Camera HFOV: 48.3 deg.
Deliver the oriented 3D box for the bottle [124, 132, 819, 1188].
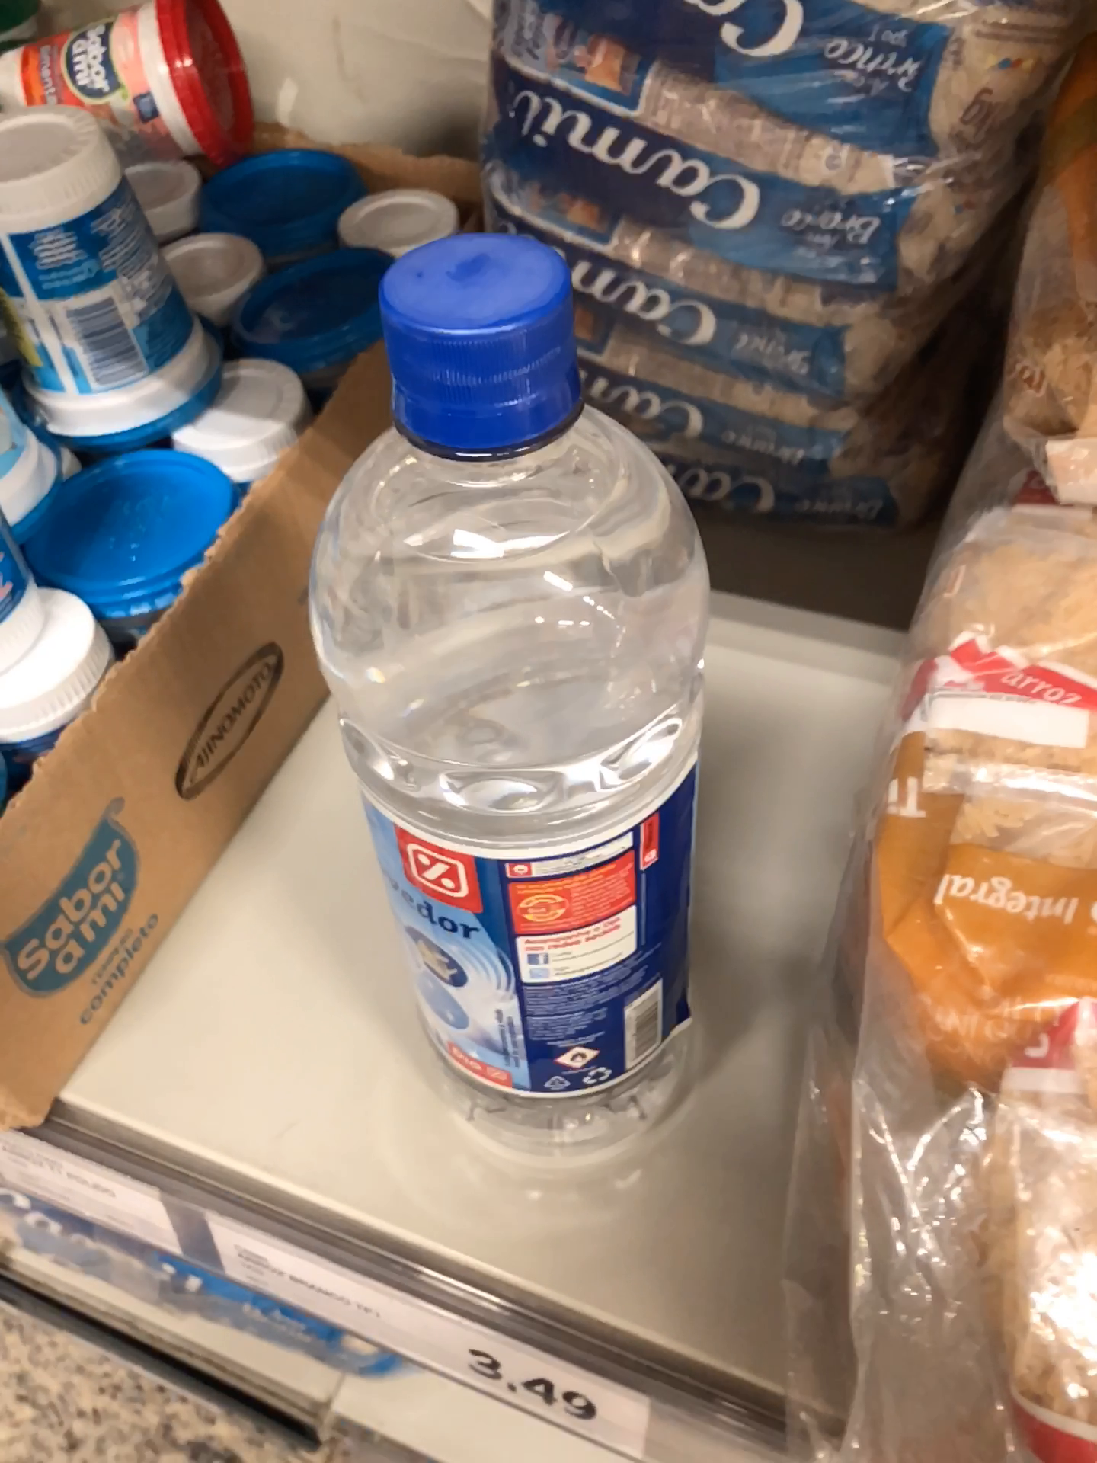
[{"bbox_3d":[-0.002,0.016,0.283,0.090,0.258,0.081,-8,51,0],"label":"bottle"}]
